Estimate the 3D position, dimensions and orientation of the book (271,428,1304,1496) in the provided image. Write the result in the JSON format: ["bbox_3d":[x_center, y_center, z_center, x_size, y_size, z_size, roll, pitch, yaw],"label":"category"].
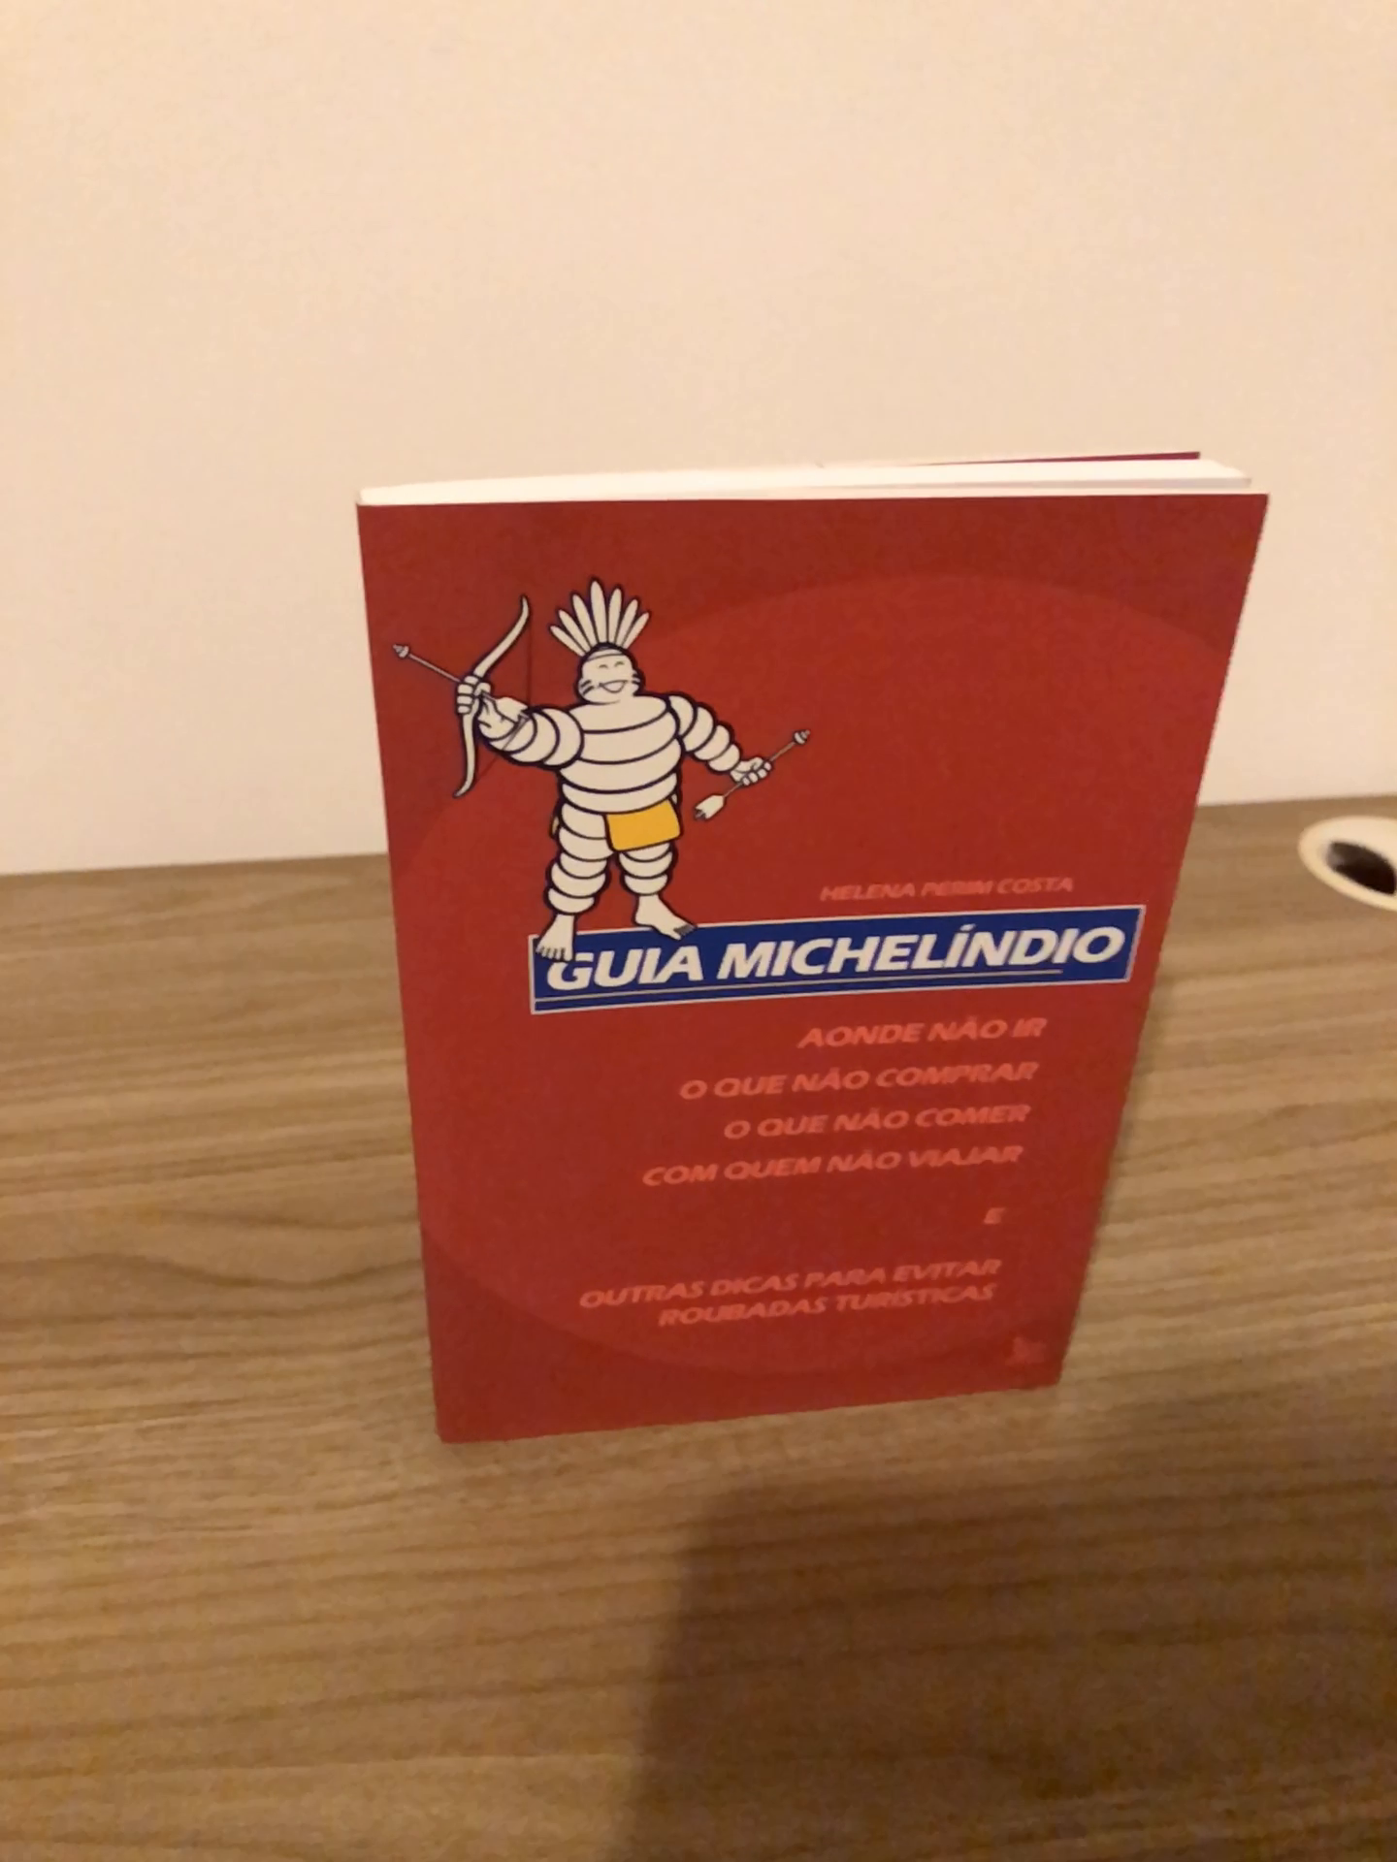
[{"bbox_3d":[0.012,0.020,0.289,0.150,0.218,0.020,-4,35,-9],"label":"book"}]
